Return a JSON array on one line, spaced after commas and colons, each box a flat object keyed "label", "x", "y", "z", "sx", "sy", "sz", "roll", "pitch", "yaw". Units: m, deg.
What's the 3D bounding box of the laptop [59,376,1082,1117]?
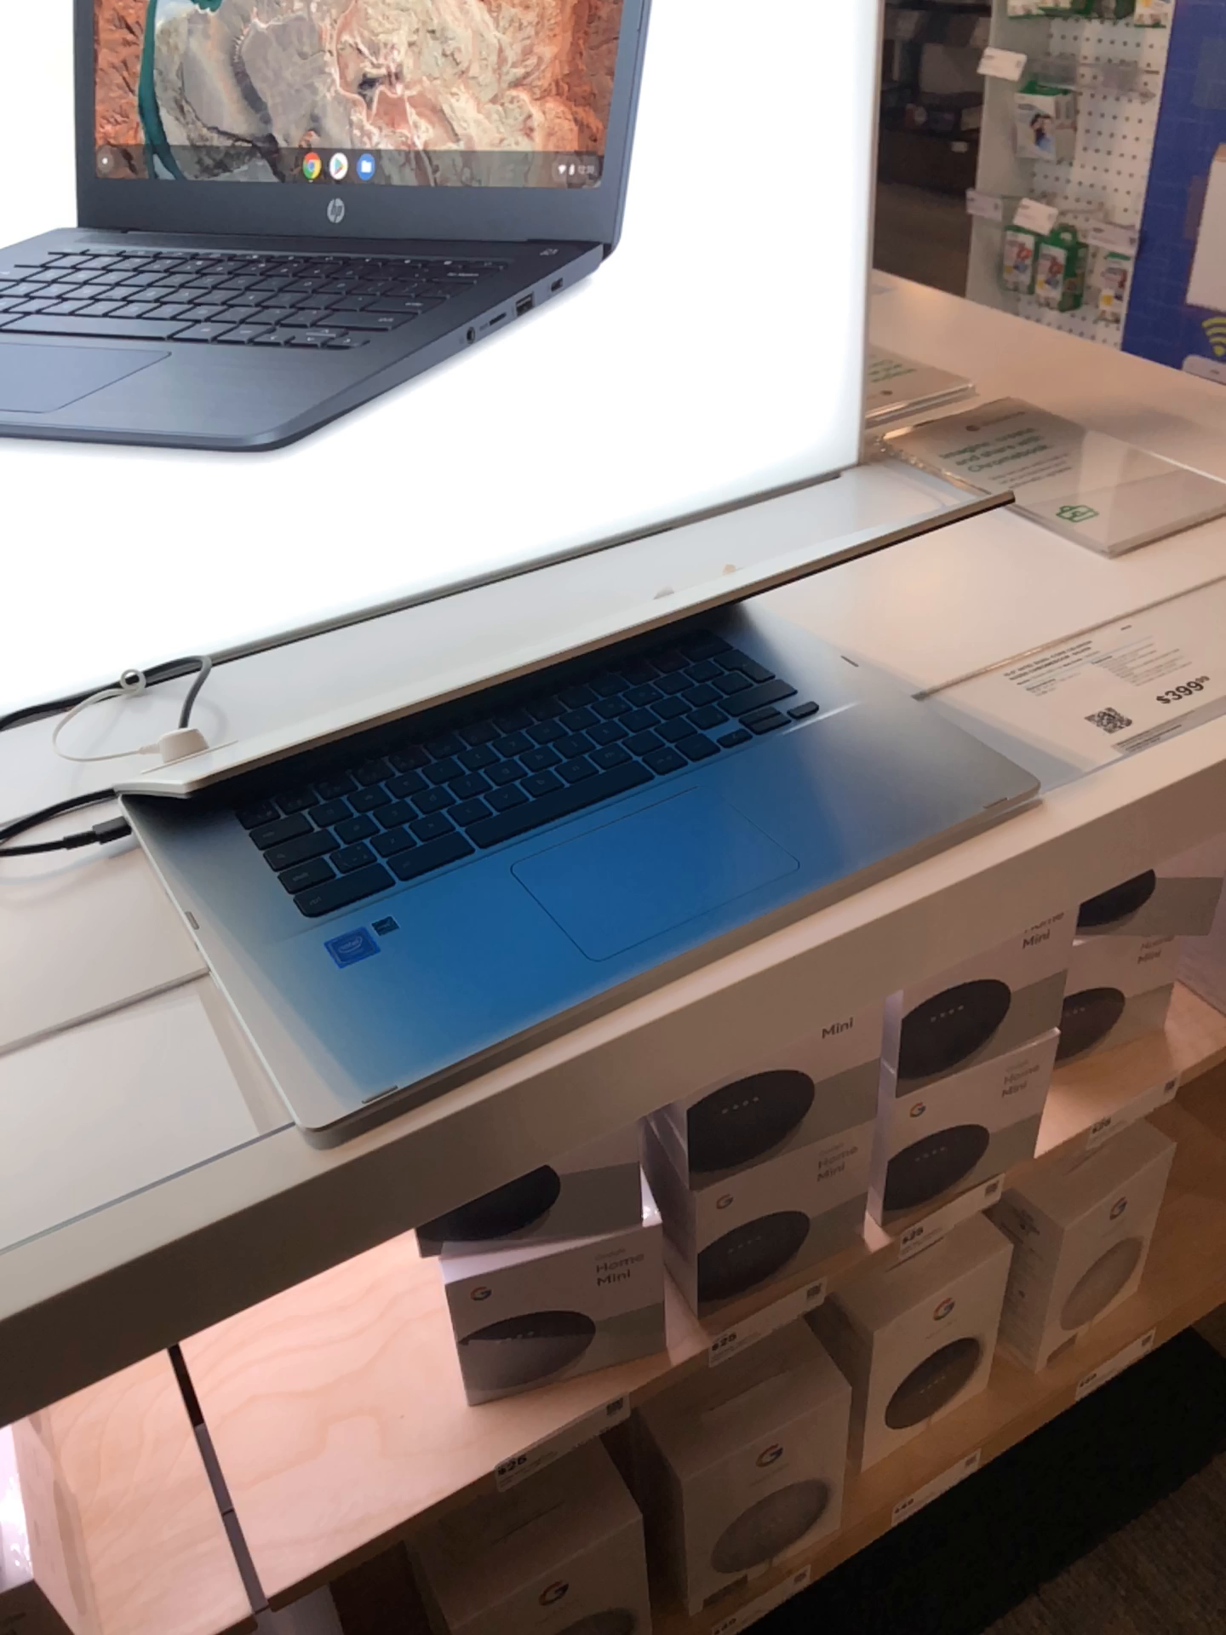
[{"label": "laptop", "x": -0.020, "y": -0.058, "z": 0.575, "sx": 0.341, "sy": 0.113, "sz": 0.222, "roll": -22, "pitch": 42, "yaw": -21}]
